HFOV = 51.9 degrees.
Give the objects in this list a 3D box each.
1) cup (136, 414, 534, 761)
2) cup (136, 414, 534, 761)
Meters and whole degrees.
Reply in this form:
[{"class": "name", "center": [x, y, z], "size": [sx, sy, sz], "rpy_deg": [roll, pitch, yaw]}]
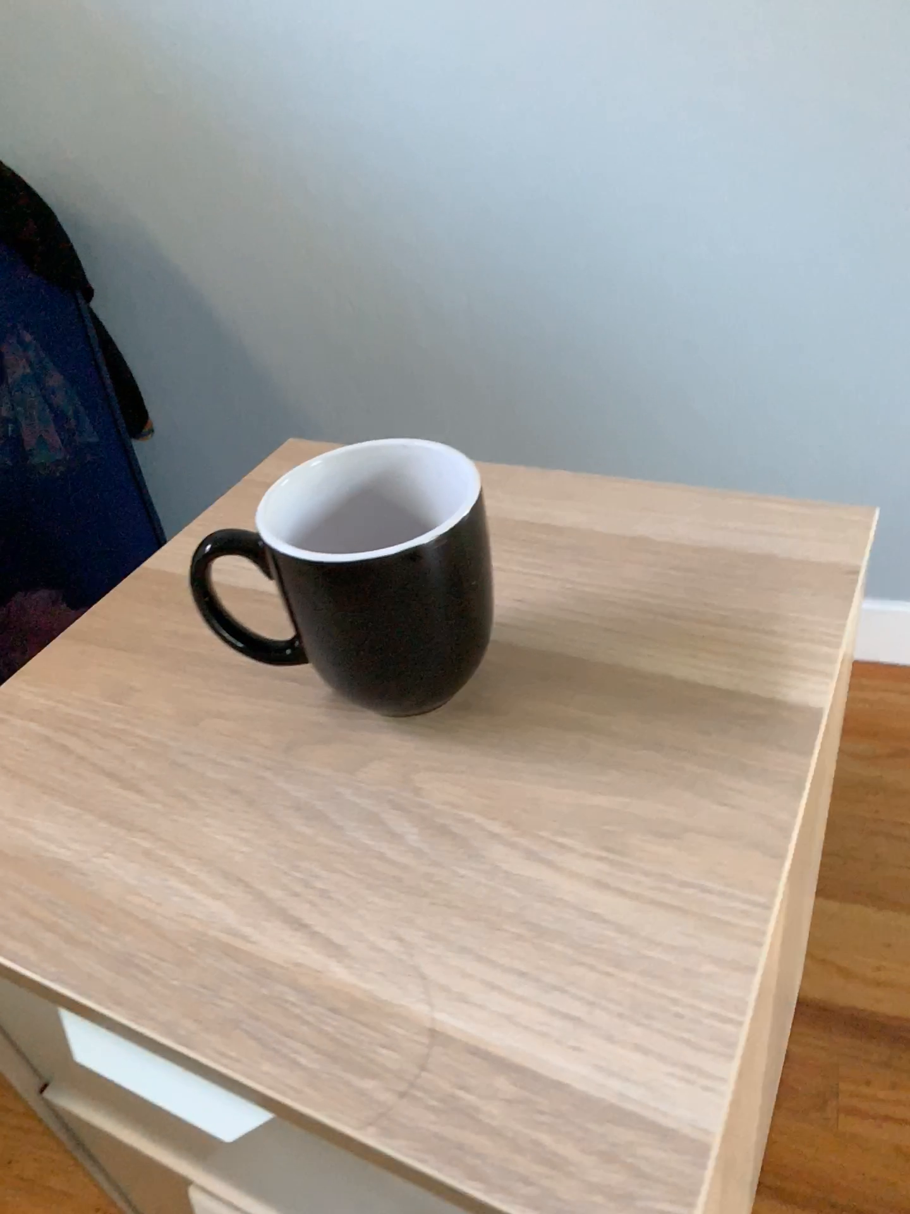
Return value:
[{"class": "cup", "center": [-0.049, -0.011, 0.436], "size": [0.150, 0.100, 0.100], "rpy_deg": [-9, 38, 1]}, {"class": "cup", "center": [-0.049, -0.011, 0.436], "size": [0.150, 0.100, 0.100], "rpy_deg": [-9, 38, 1]}]
